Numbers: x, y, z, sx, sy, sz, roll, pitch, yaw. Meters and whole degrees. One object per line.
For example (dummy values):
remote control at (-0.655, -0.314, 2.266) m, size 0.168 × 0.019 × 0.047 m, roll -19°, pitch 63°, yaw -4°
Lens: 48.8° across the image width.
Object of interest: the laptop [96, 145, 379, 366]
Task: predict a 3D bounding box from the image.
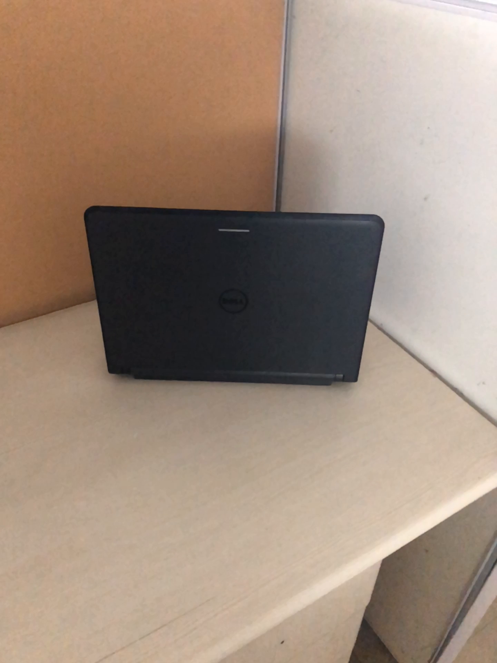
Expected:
laptop at (-0.009, -0.106, 0.739) m, size 0.304 × 0.211 × 0.215 m, roll 2°, pitch 37°, yaw 0°
